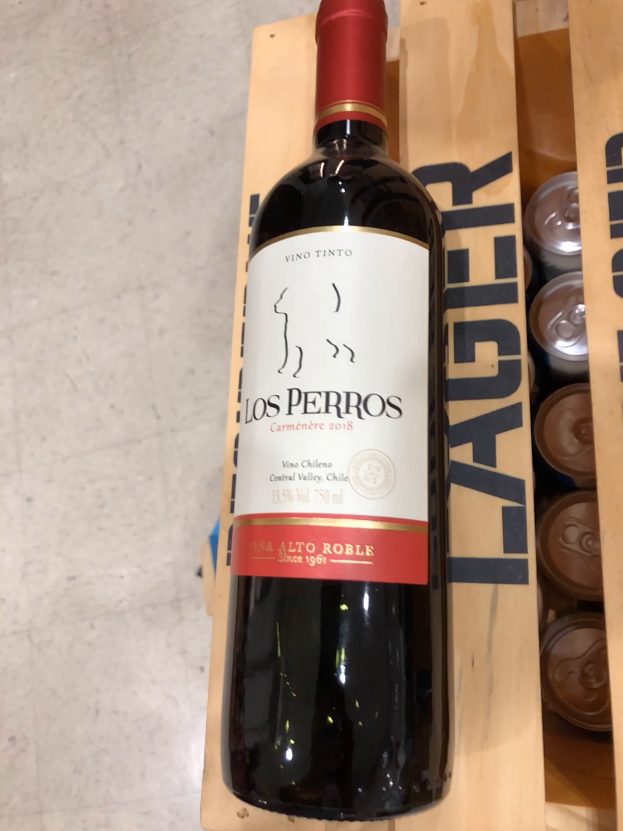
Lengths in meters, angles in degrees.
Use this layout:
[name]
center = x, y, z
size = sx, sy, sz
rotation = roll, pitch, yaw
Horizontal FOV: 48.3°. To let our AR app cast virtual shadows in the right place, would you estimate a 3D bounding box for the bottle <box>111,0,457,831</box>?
[bottle]
center = -0.001, -0.030, 0.243
size = 0.090, 0.060, 0.310
rotation = -2, 77, 17
